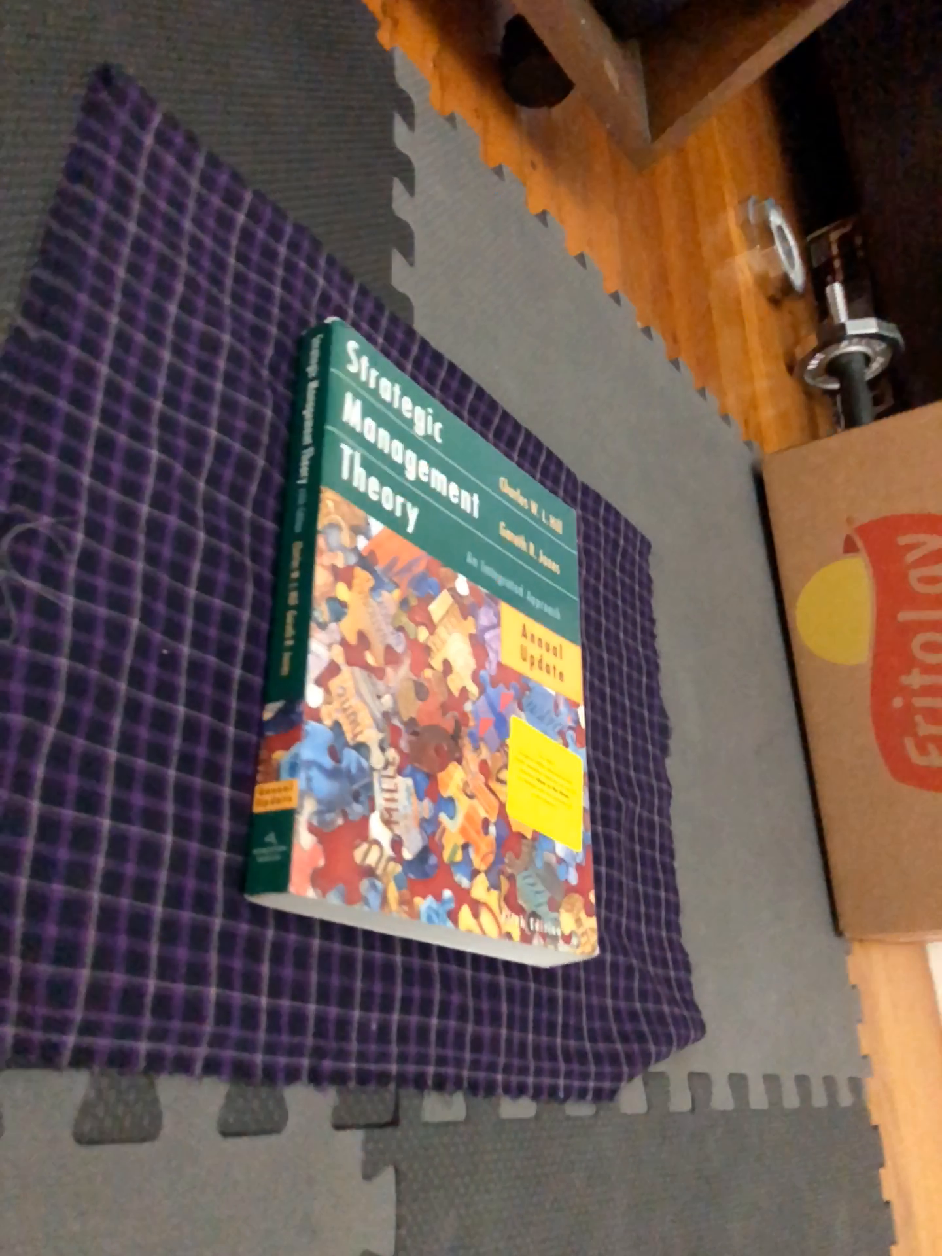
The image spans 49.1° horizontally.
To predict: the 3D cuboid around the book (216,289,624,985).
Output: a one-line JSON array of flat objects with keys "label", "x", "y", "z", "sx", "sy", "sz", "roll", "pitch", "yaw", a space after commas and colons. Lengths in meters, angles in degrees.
[{"label": "book", "x": -0.003, "y": 0.016, "z": 0.510, "sx": 0.231, "sy": 0.040, "sz": 0.281, "roll": 31, "pitch": 53, "yaw": -45}]
